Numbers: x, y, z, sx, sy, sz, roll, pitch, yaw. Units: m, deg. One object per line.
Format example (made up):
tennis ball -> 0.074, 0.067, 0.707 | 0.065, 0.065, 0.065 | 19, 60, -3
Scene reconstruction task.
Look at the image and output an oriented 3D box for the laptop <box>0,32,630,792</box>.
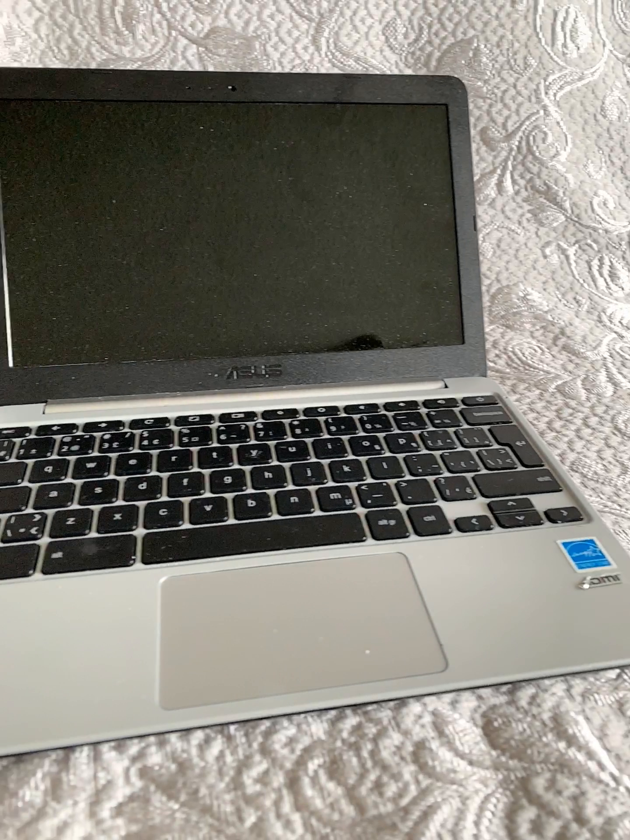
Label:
laptop -> -0.024, -0.050, 0.290 | 0.288, 0.127, 0.288 | -3, 41, -17
